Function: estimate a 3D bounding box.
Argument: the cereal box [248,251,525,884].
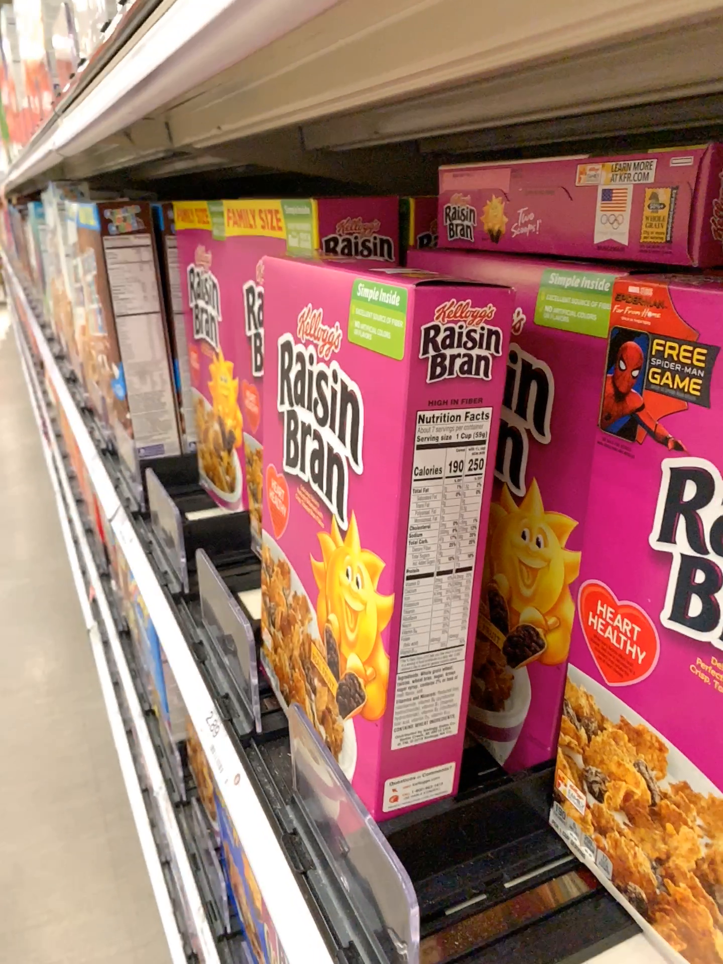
[{"bbox_3d":[-0.009,0.025,0.407,0.050,0.279,0.201,-5,20,-24],"label":"cereal box"}]

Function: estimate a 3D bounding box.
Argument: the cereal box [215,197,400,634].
[{"bbox_3d":[-0.051,-0.068,0.601,0.060,0.299,0.221,-9,22,-24],"label":"cereal box"}]
